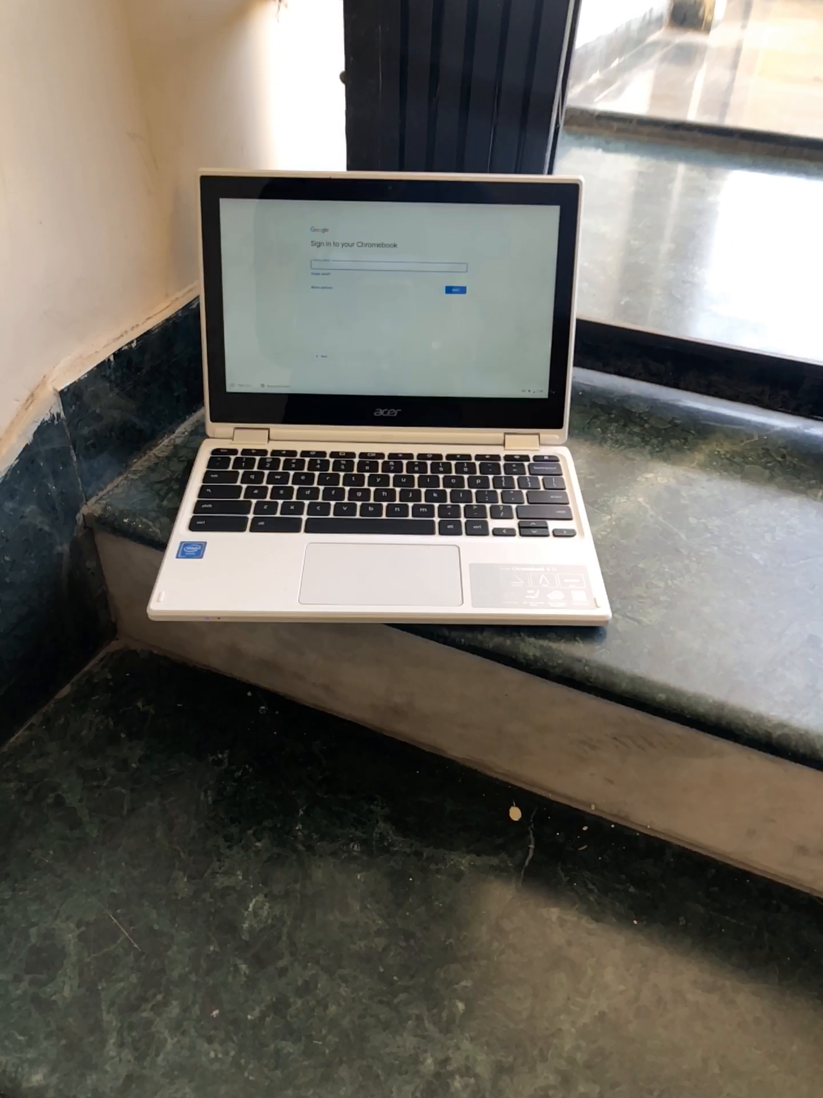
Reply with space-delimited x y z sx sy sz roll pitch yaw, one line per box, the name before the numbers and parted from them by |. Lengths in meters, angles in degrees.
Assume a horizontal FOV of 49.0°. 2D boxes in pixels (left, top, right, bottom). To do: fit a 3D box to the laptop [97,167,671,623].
laptop | -0.015 -0.115 0.597 0.278 0.178 0.273 1 38 -1
